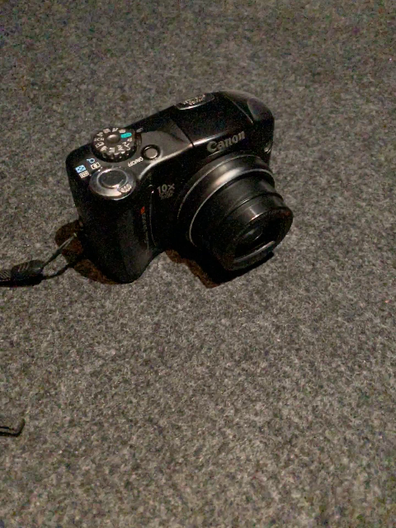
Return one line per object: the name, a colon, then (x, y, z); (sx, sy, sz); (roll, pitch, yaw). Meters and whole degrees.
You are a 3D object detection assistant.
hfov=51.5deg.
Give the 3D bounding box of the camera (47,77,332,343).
camera: (-0.004, -0.030, 0.217); (0.108, 0.079, 0.070); (-28, 60, -21)
